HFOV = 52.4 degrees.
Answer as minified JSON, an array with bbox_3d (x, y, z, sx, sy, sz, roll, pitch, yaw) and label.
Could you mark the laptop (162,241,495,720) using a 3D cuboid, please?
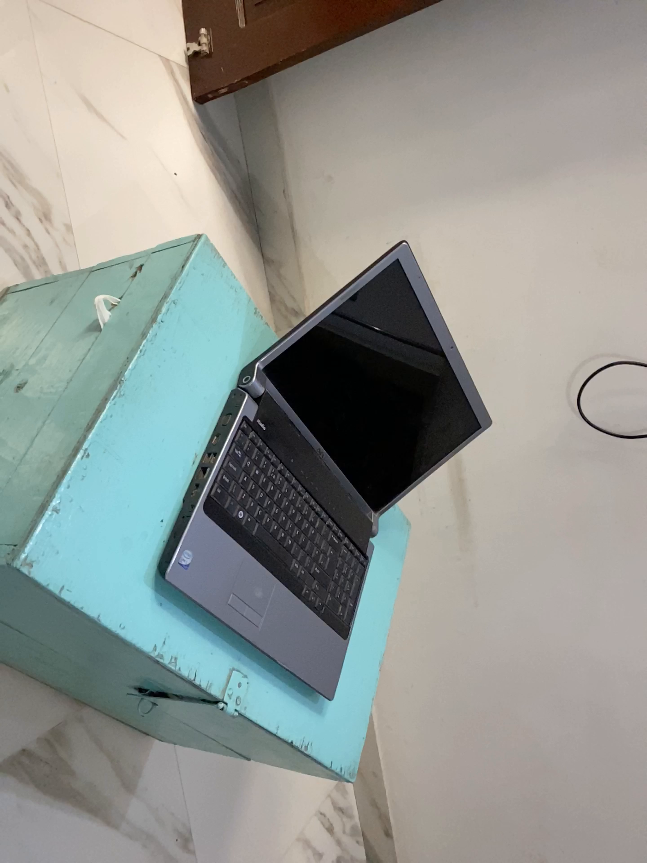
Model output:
[{"bbox_3d":[0.061,0.071,0.894,0.391,0.178,0.478,53,44,-42],"label":"laptop"}]
